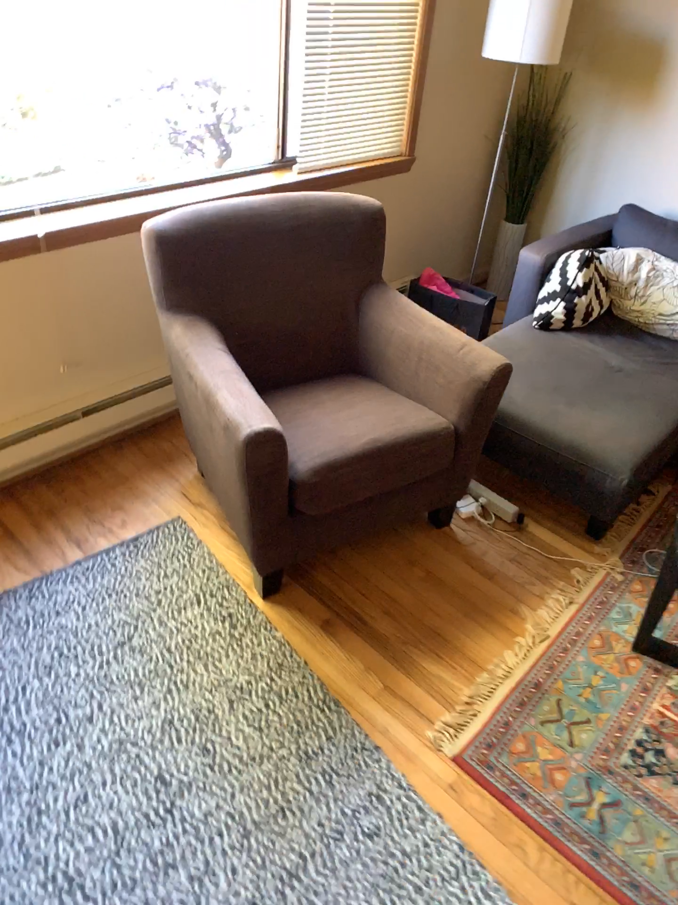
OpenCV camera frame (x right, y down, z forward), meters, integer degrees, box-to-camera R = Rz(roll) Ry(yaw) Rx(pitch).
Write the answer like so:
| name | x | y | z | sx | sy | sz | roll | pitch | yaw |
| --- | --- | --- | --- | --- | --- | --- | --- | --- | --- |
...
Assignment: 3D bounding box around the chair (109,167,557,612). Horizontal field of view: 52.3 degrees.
| name | x | y | z | sx | sy | sz | roll | pitch | yaw |
| --- | --- | --- | --- | --- | --- | --- | --- | --- | --- |
| chair | -0.062 | -0.264 | 2.049 | 0.881 | 0.875 | 0.804 | -18 | 40 | -28 |
